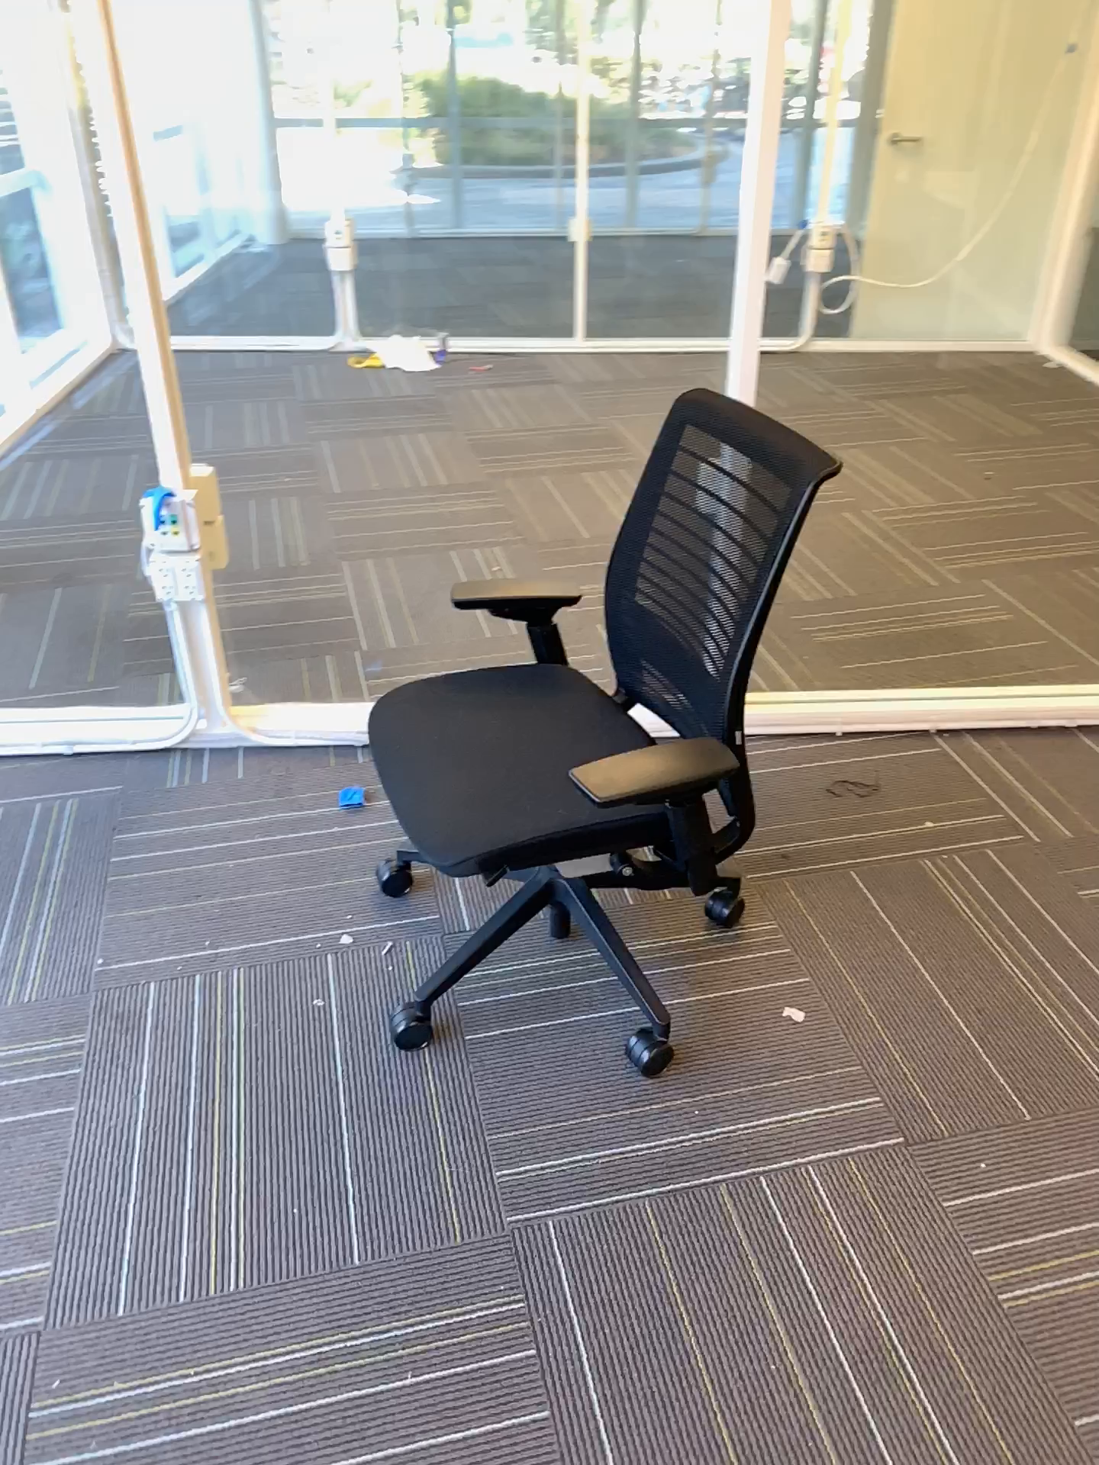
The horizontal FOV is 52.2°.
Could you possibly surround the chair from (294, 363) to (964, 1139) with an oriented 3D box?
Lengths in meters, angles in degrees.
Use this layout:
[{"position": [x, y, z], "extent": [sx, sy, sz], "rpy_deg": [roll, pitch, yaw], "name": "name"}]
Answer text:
[{"position": [0.047, -0.019, 1.749], "extent": [0.710, 0.874, 0.694], "rpy_deg": [-9, 33, -14], "name": "chair"}]
